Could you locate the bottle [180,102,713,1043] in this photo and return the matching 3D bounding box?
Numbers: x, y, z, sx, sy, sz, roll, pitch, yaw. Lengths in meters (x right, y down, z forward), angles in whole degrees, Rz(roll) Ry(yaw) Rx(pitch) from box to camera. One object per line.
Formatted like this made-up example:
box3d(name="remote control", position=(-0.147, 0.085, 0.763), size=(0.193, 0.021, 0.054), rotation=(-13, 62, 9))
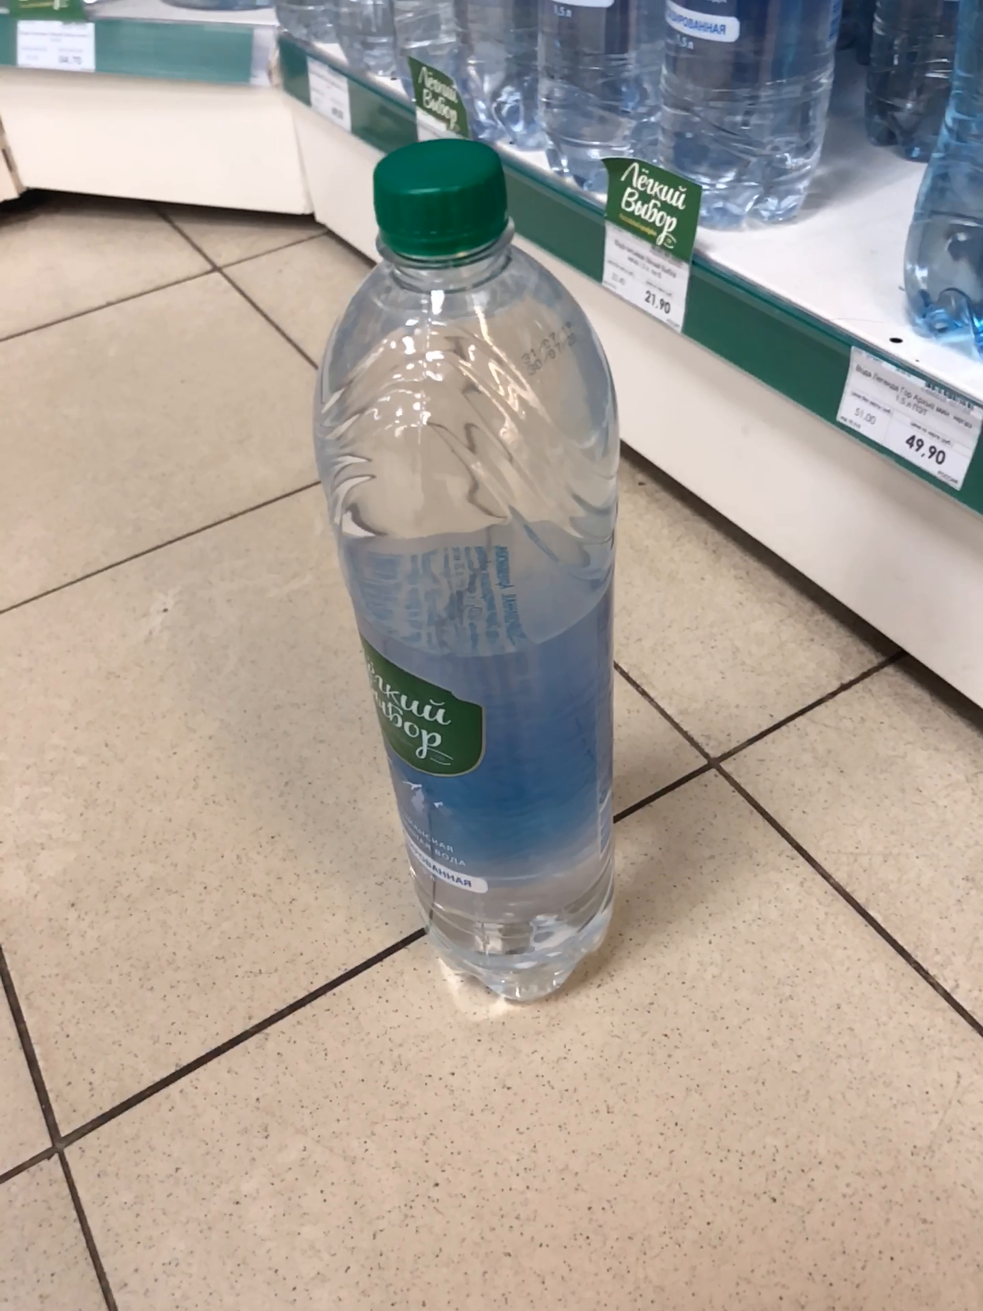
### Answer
box3d(name="bottle", position=(-0.001, 0.000, 0.354), size=(0.086, 0.299, 0.089), rotation=(-3, 45, 3))
